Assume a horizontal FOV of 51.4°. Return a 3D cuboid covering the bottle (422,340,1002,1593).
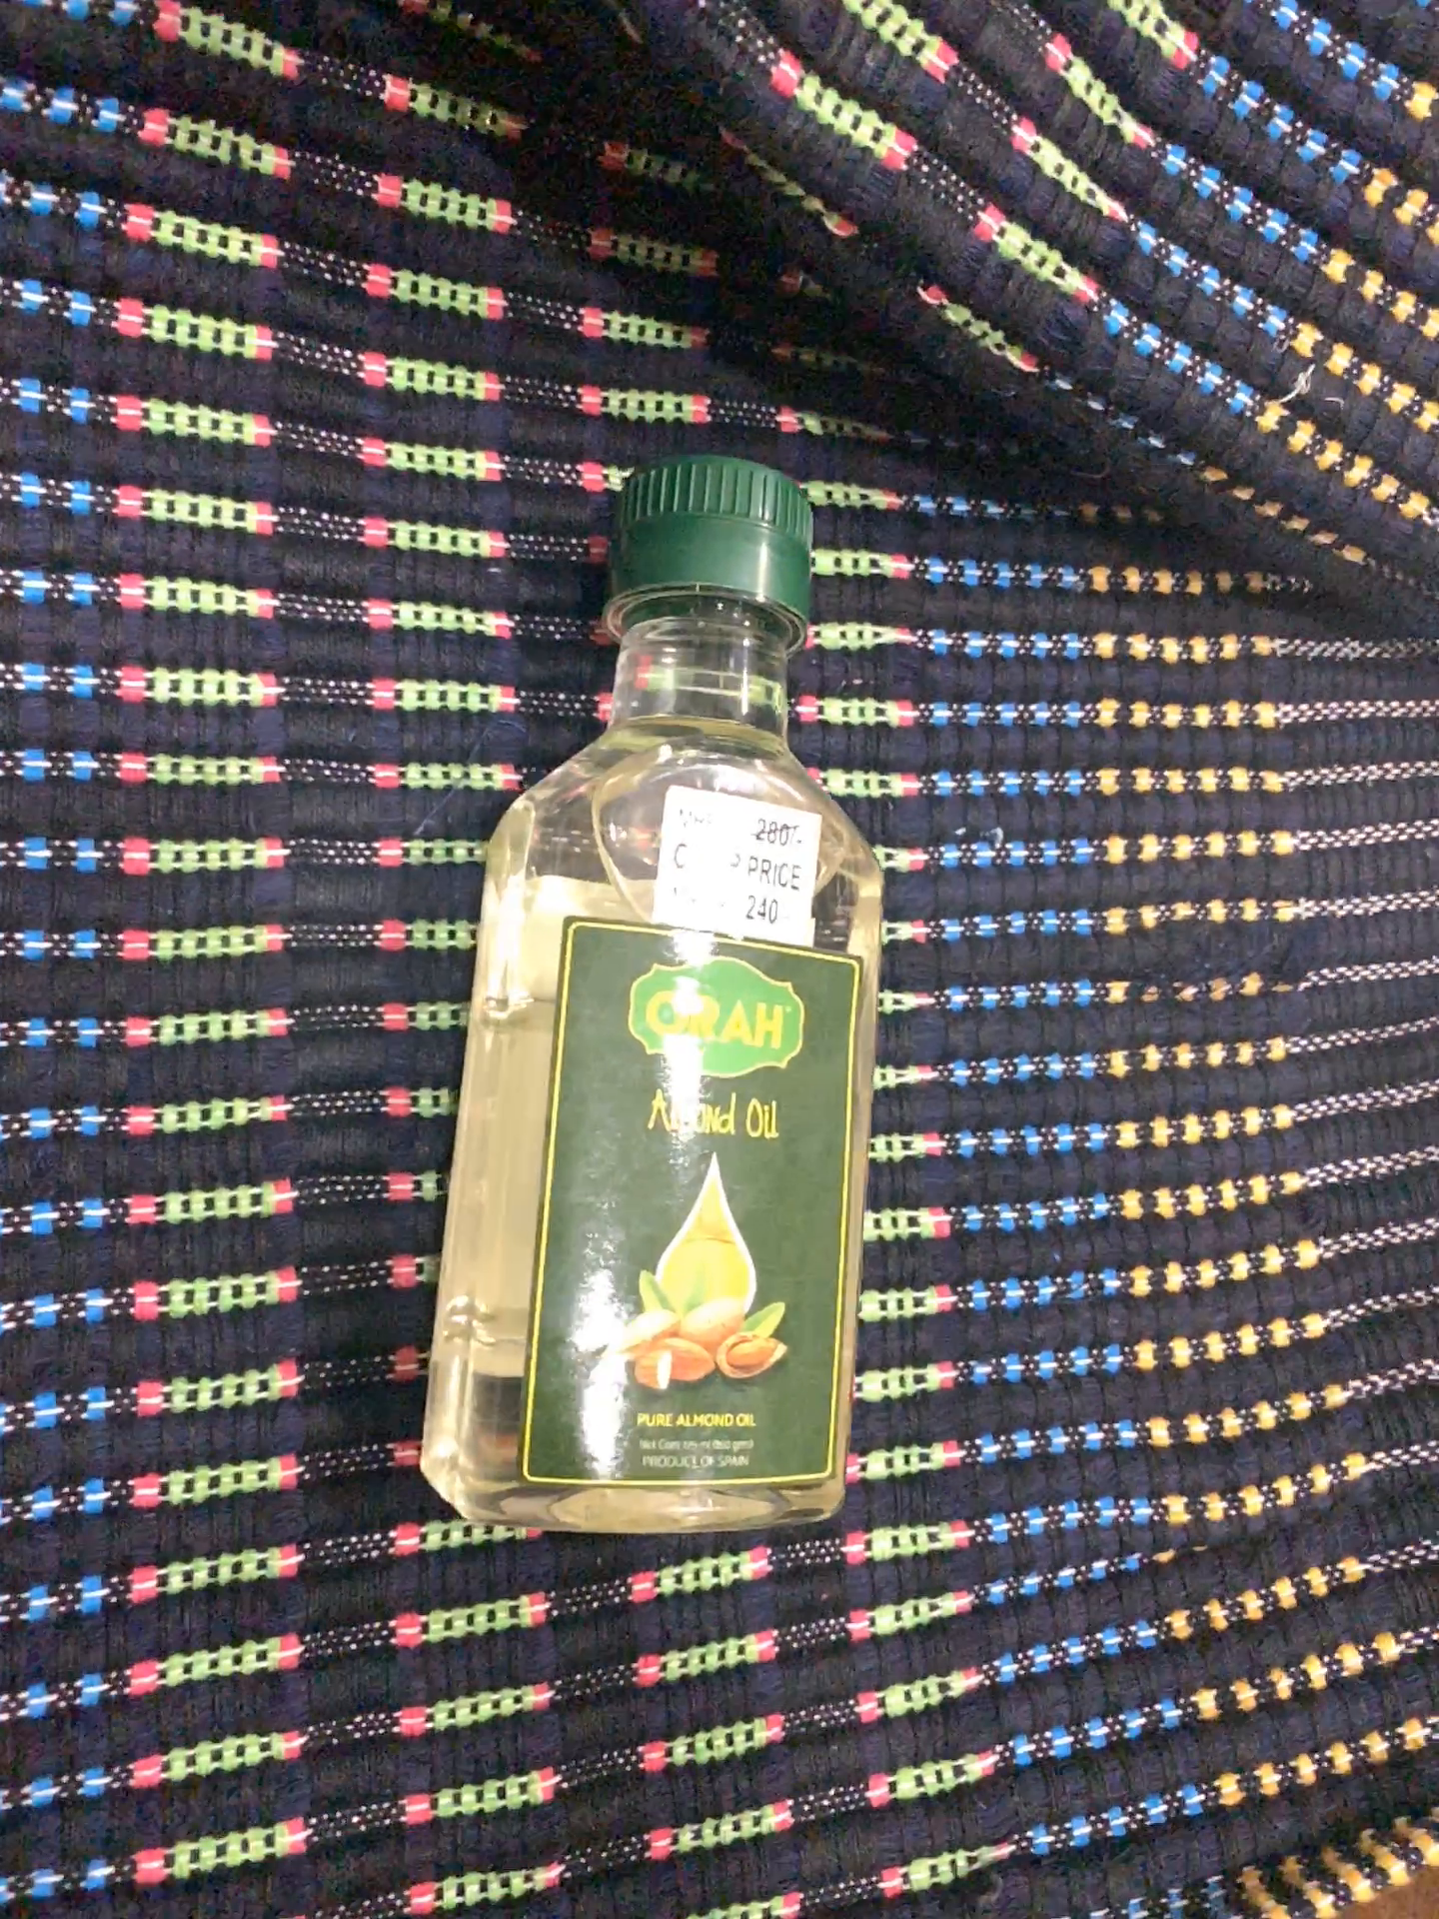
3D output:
[{"bbox_3d":[0.001,0.001,0.200,0.060,0.030,0.150,9,78,-21],"label":"bottle"}]
